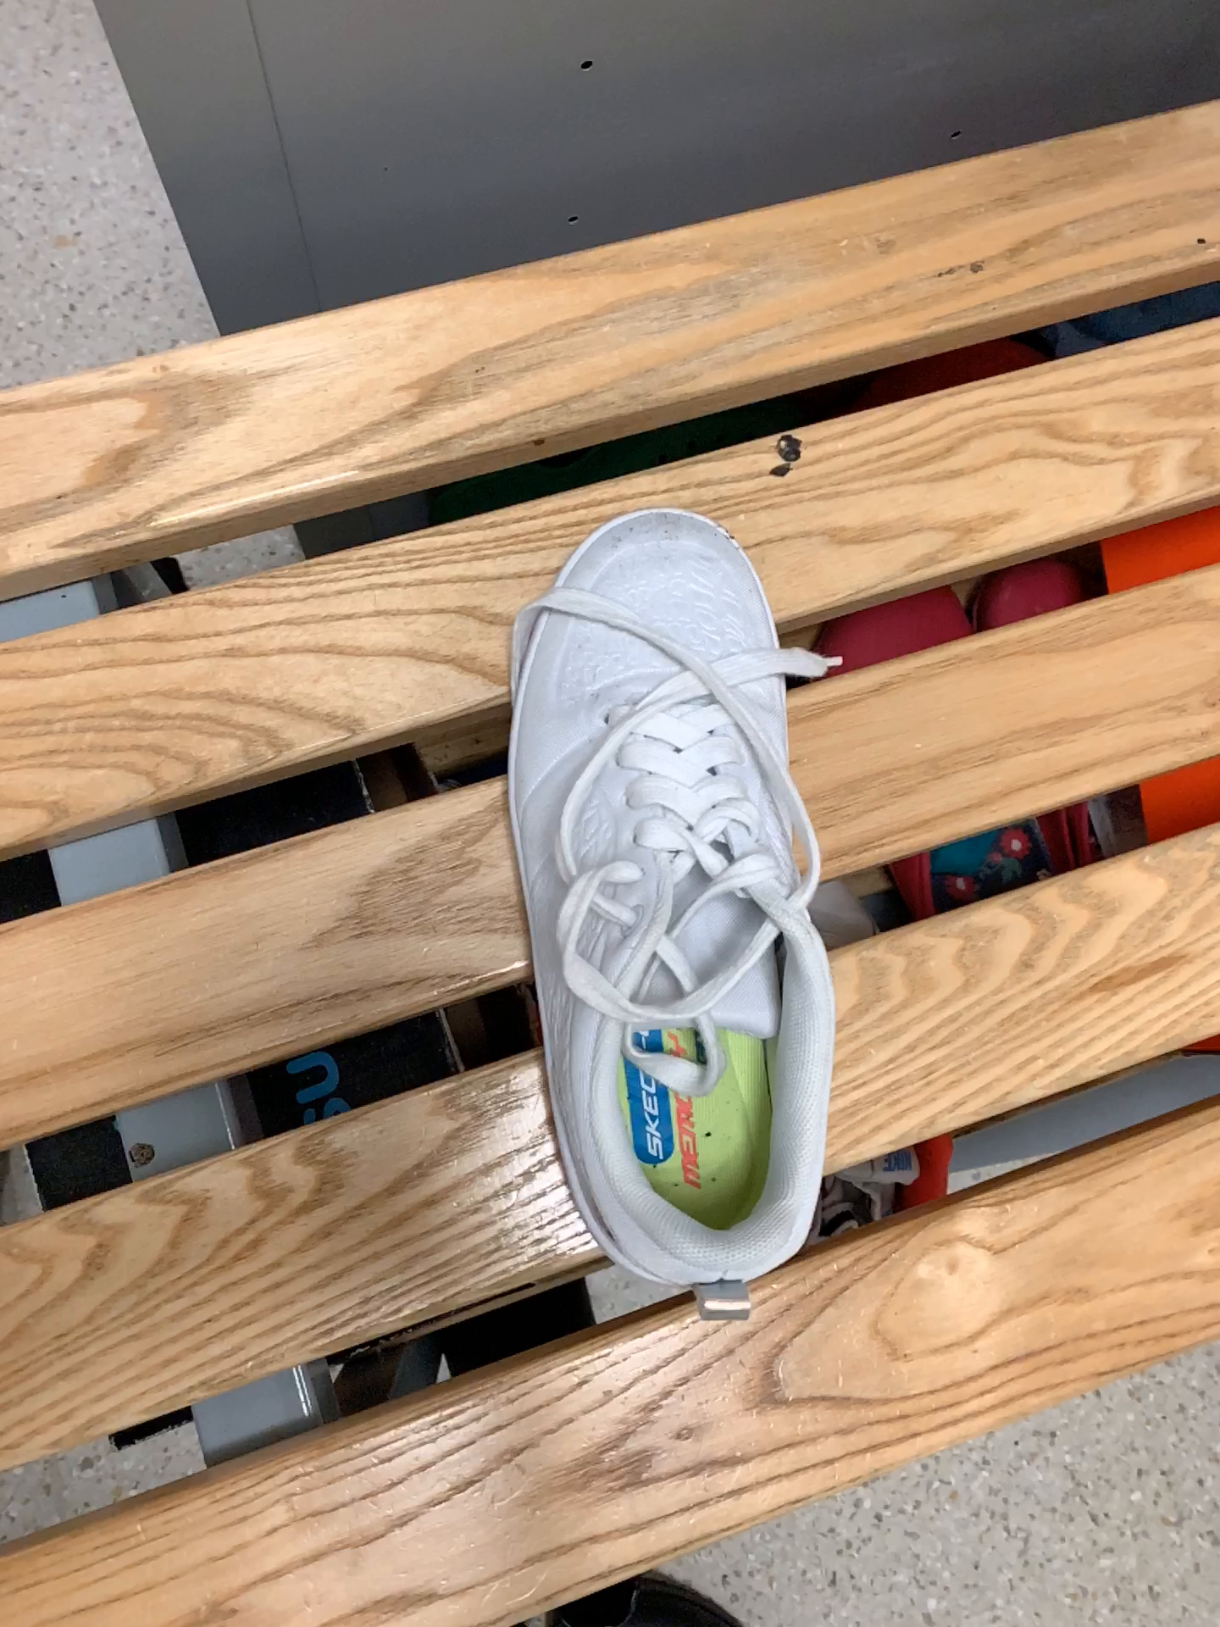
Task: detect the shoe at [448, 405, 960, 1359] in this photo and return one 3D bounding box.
[{"bbox_3d":[0.019,0.015,0.377,0.099,0.076,0.250,-8,79,-6],"label":"shoe"}]
